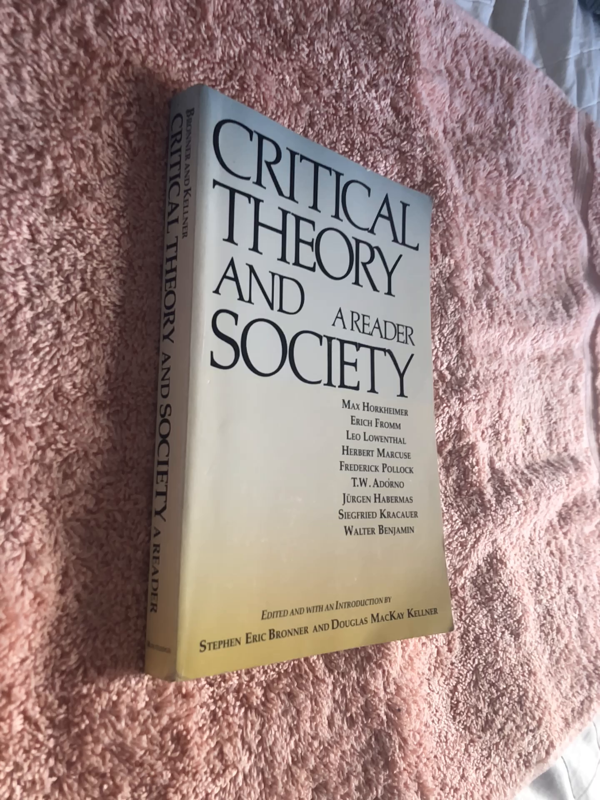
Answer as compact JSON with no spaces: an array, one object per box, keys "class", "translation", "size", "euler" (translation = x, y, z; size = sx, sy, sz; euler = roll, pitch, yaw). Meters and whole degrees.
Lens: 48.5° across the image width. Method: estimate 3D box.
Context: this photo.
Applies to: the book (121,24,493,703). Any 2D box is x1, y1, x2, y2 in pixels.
[{"class":"book","translation":[0.014,-0.009,0.297],"size":[0.171,0.050,0.230],"euler":[9,77,-44]}]
